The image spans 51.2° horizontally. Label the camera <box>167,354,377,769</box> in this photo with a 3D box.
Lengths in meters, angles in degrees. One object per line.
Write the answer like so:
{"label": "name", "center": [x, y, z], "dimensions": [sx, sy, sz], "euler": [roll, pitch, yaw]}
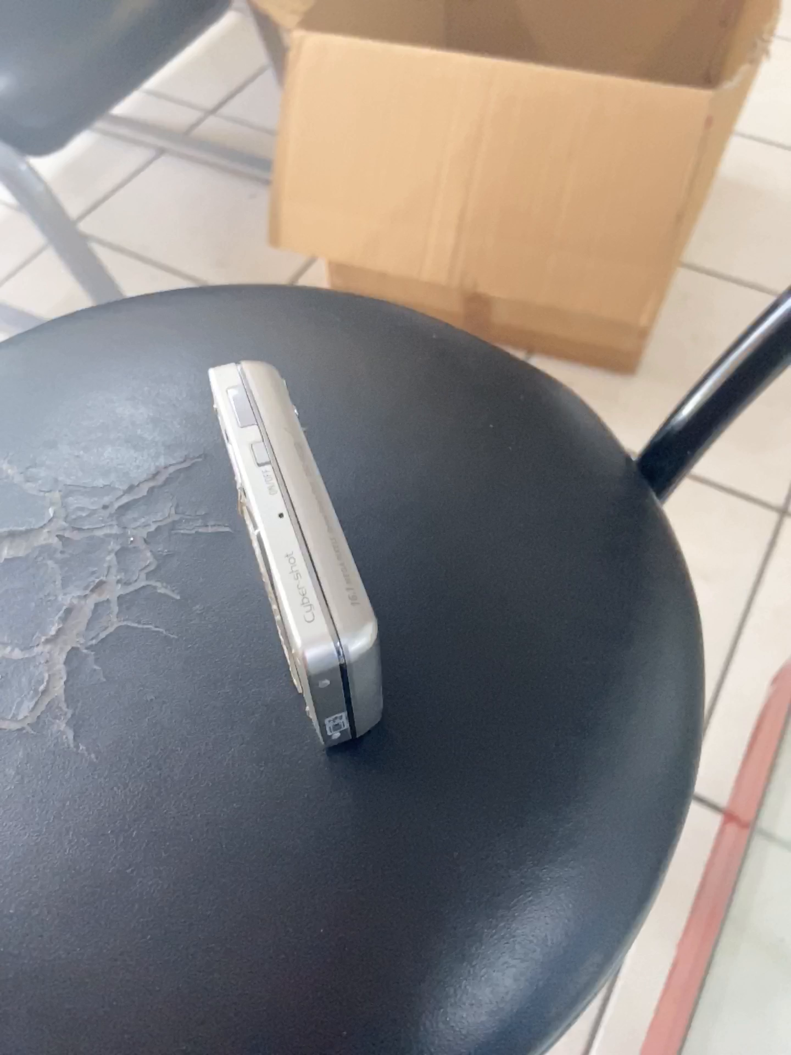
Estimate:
{"label": "camera", "center": [-0.031, 0.006, 0.204], "dimensions": [0.022, 0.042, 0.093], "euler": [-18, 58, -11]}
